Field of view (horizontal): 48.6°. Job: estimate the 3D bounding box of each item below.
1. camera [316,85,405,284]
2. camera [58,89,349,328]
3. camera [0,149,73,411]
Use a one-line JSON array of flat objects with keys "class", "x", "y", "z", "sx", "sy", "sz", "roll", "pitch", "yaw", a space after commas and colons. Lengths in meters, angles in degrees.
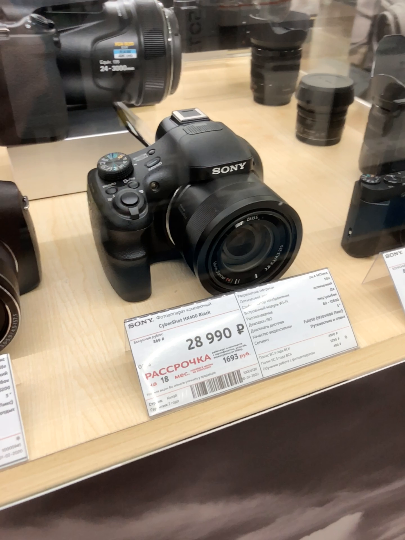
[{"class": "camera", "x": 0.162, "y": -0.065, "z": 0.334, "sx": 0.125, "sy": 0.113, "sz": 0.056, "roll": -14, "pitch": 40, "yaw": -18}, {"class": "camera", "x": -0.005, "y": -0.048, "z": 0.283, "sx": 0.137, "sy": 0.086, "sz": 0.104, "roll": -14, "pitch": 40, "yaw": -18}, {"class": "camera", "x": -0.147, "y": -0.004, "z": 0.244, "sx": 0.122, "sy": 0.073, "sz": 0.097, "roll": -14, "pitch": 40, "yaw": -18}]
